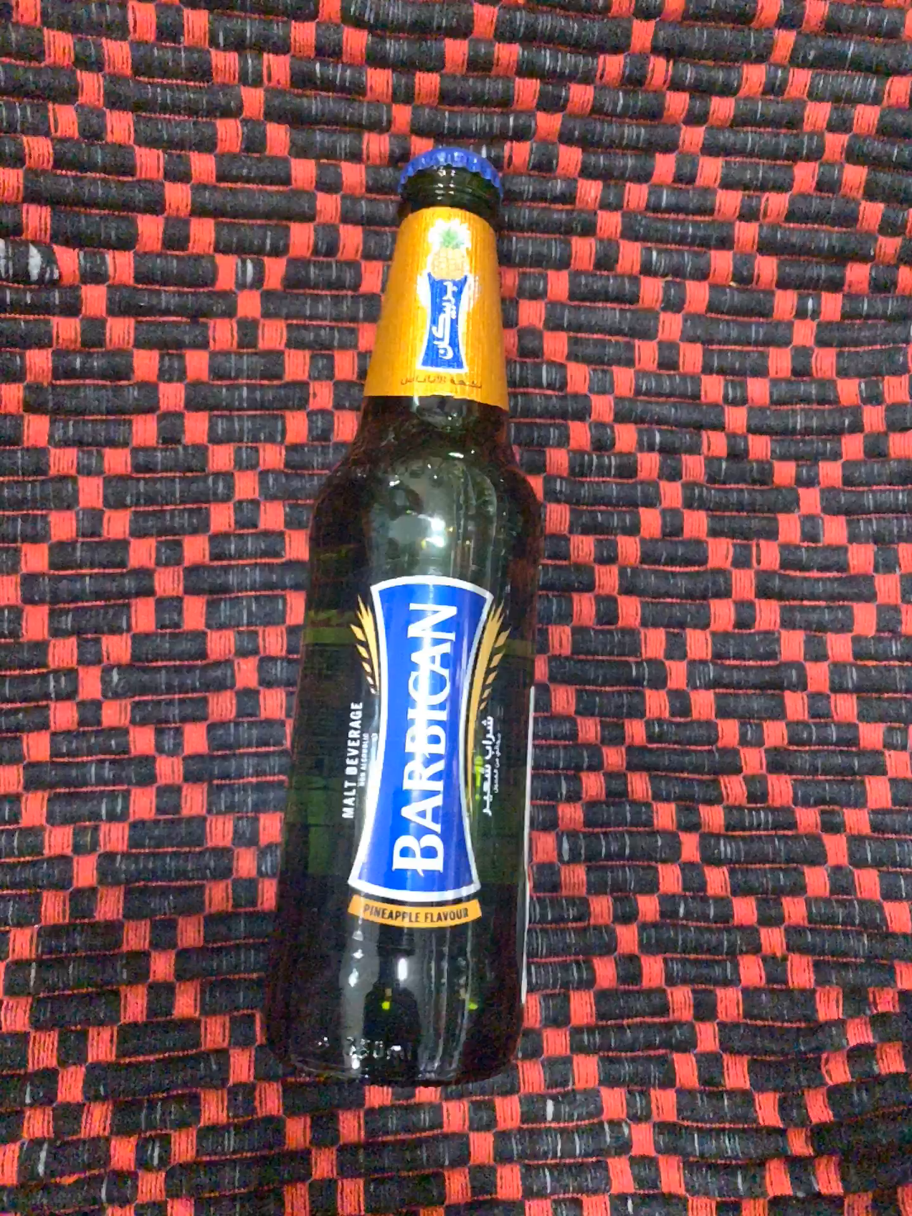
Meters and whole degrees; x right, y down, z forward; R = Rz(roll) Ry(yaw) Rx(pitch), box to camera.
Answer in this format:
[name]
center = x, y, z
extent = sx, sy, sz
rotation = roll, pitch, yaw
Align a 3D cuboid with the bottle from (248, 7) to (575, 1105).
[bottle]
center = -0.008, -0.020, 0.242
extent = 0.060, 0.070, 0.250
rotation = 4, 74, -7
